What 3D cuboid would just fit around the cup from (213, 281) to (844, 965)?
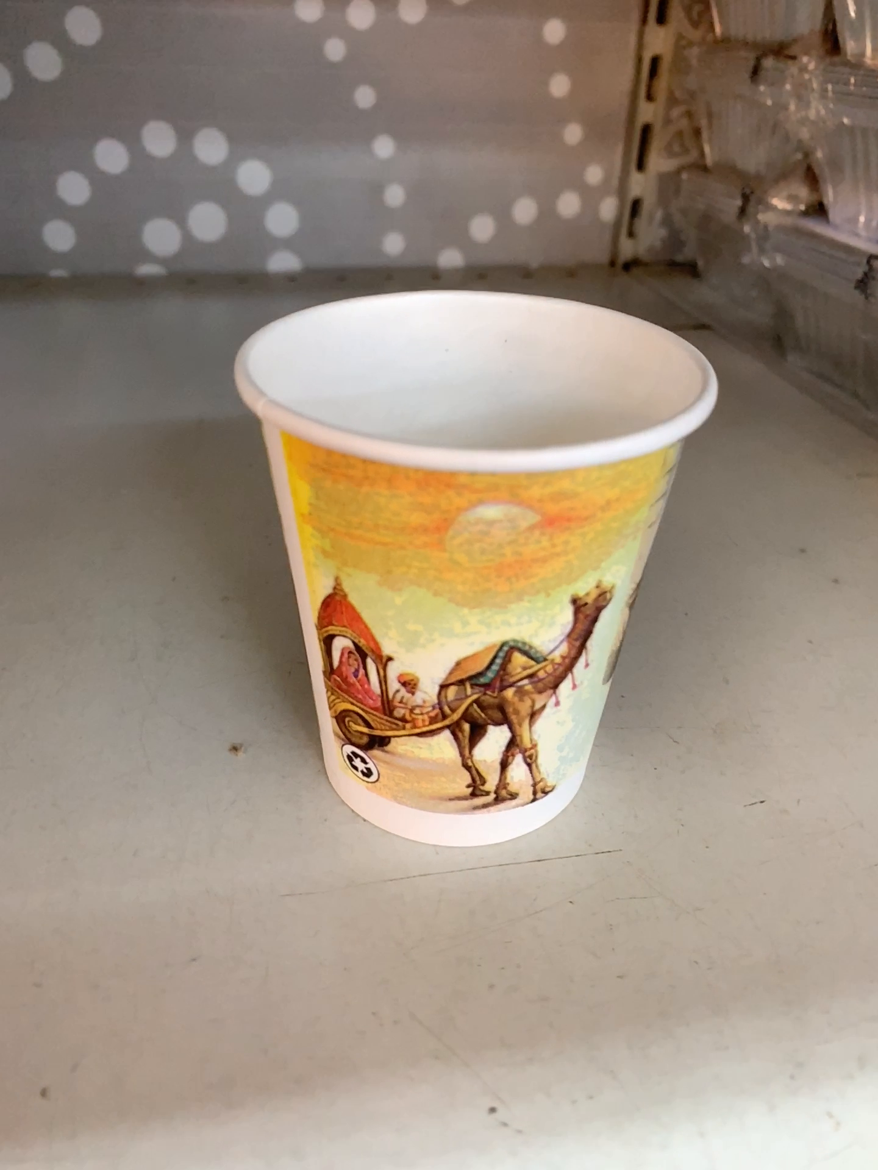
[{"bbox_3d":[0.004,0.000,0.152,0.070,0.079,0.071,2,31,-1],"label":"cup"}]
